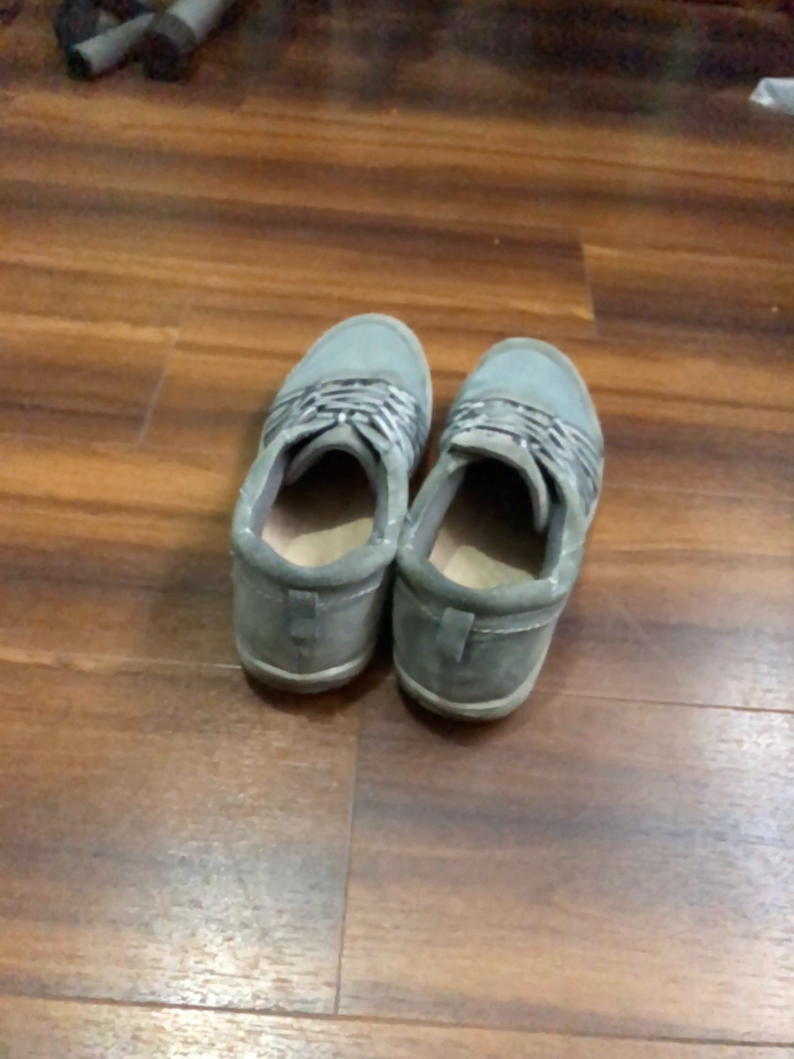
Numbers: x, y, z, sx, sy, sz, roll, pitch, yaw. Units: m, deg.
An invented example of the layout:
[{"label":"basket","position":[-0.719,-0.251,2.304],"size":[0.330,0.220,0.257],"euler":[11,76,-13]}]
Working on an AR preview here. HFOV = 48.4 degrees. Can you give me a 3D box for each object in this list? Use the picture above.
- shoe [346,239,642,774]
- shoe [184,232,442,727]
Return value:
[{"label":"shoe","position":[0.061,-0.030,0.486],"size":[0.100,0.109,0.282],"euler":[13,49,7]},{"label":"shoe","position":[-0.035,-0.043,0.510],"size":[0.100,0.109,0.282],"euler":[5,49,0]}]
